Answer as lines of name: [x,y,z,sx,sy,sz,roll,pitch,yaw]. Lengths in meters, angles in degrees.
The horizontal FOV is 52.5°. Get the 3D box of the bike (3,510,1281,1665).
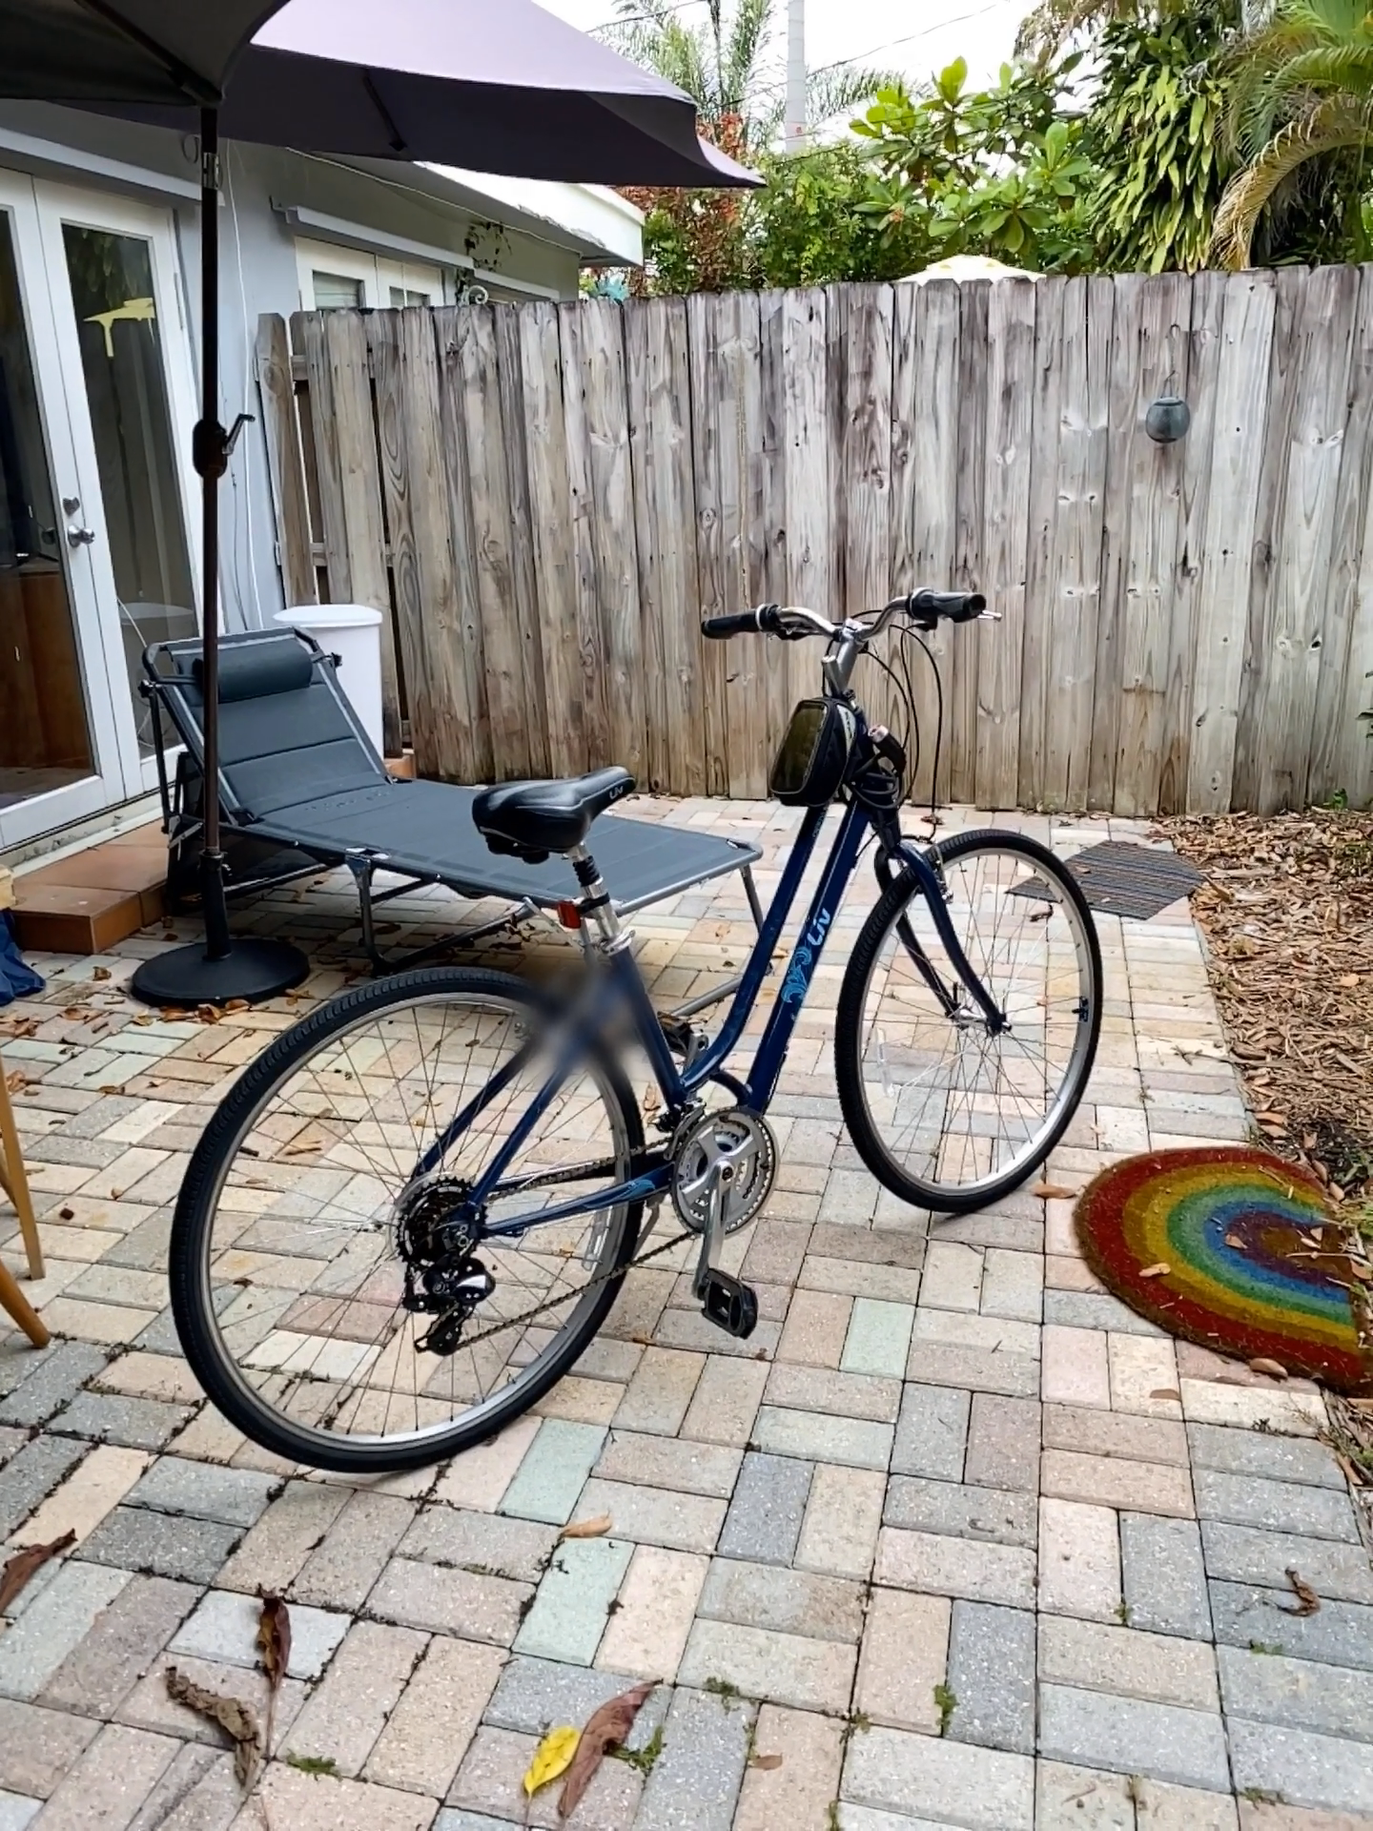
bike: [0.063,0.045,2.080,1.692,1.067,0.596,-17,24,-34]
